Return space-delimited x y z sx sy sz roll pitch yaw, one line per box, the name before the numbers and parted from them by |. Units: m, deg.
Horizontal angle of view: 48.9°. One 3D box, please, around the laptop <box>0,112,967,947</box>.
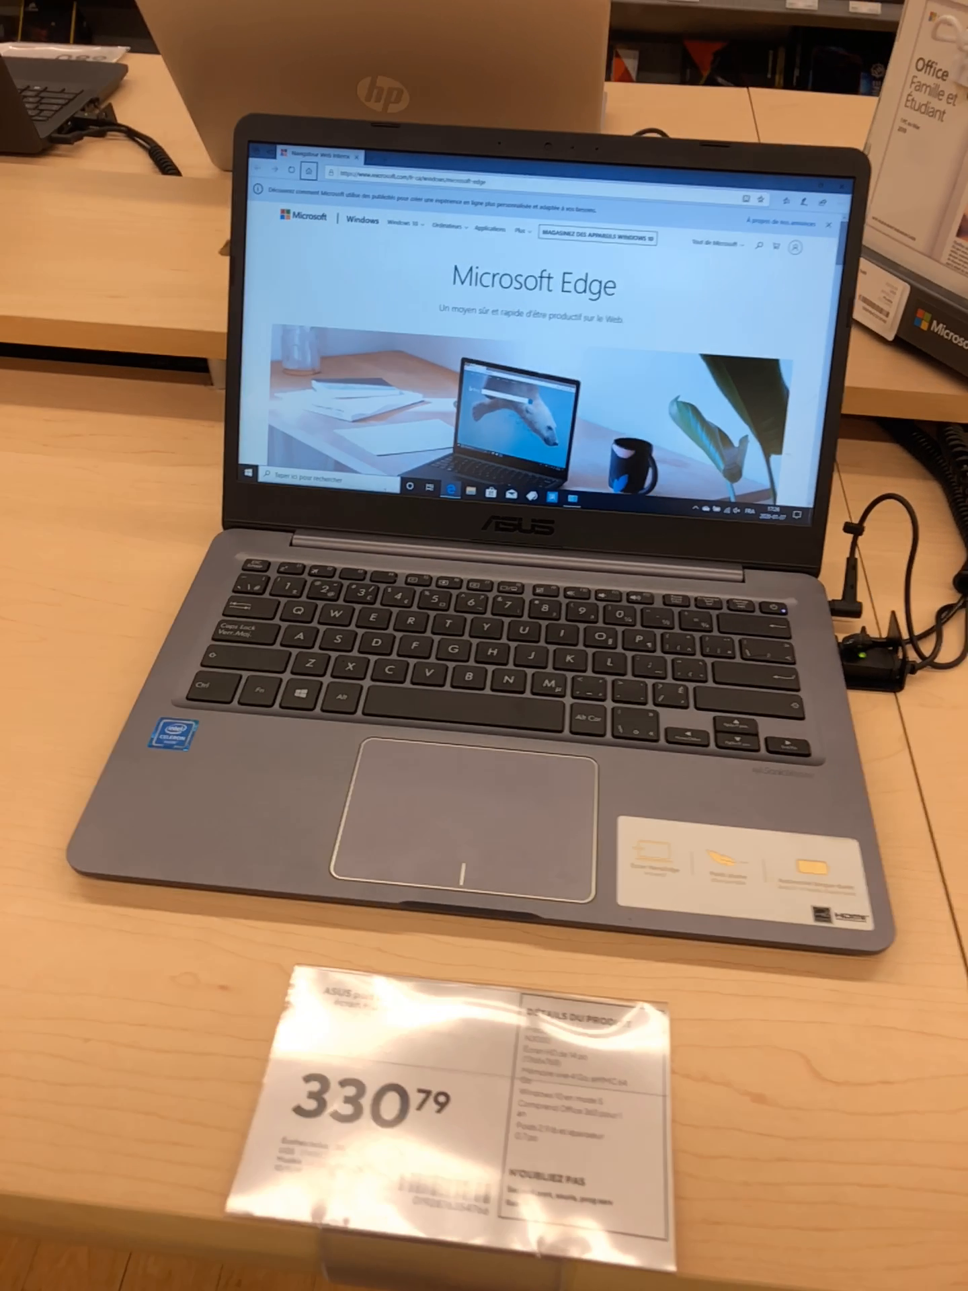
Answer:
laptop | 0.013 -0.077 0.469 0.309 0.173 0.328 5 44 3
